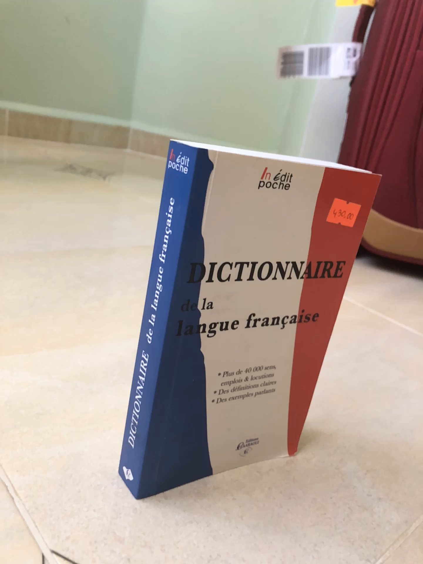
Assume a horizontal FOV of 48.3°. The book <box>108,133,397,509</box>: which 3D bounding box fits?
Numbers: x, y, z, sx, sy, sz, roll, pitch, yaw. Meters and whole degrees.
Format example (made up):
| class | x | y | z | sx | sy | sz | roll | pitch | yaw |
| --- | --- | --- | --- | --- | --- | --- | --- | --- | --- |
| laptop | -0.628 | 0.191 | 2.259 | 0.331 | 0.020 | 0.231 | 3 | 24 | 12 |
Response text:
| class | x | y | z | sx | sy | sz | roll | pitch | yaw |
| --- | --- | --- | --- | --- | --- | --- | --- | --- | --- |
| book | 0.019 | 0.024 | 0.256 | 0.121 | 0.182 | 0.034 | -1 | 23 | -32 |
